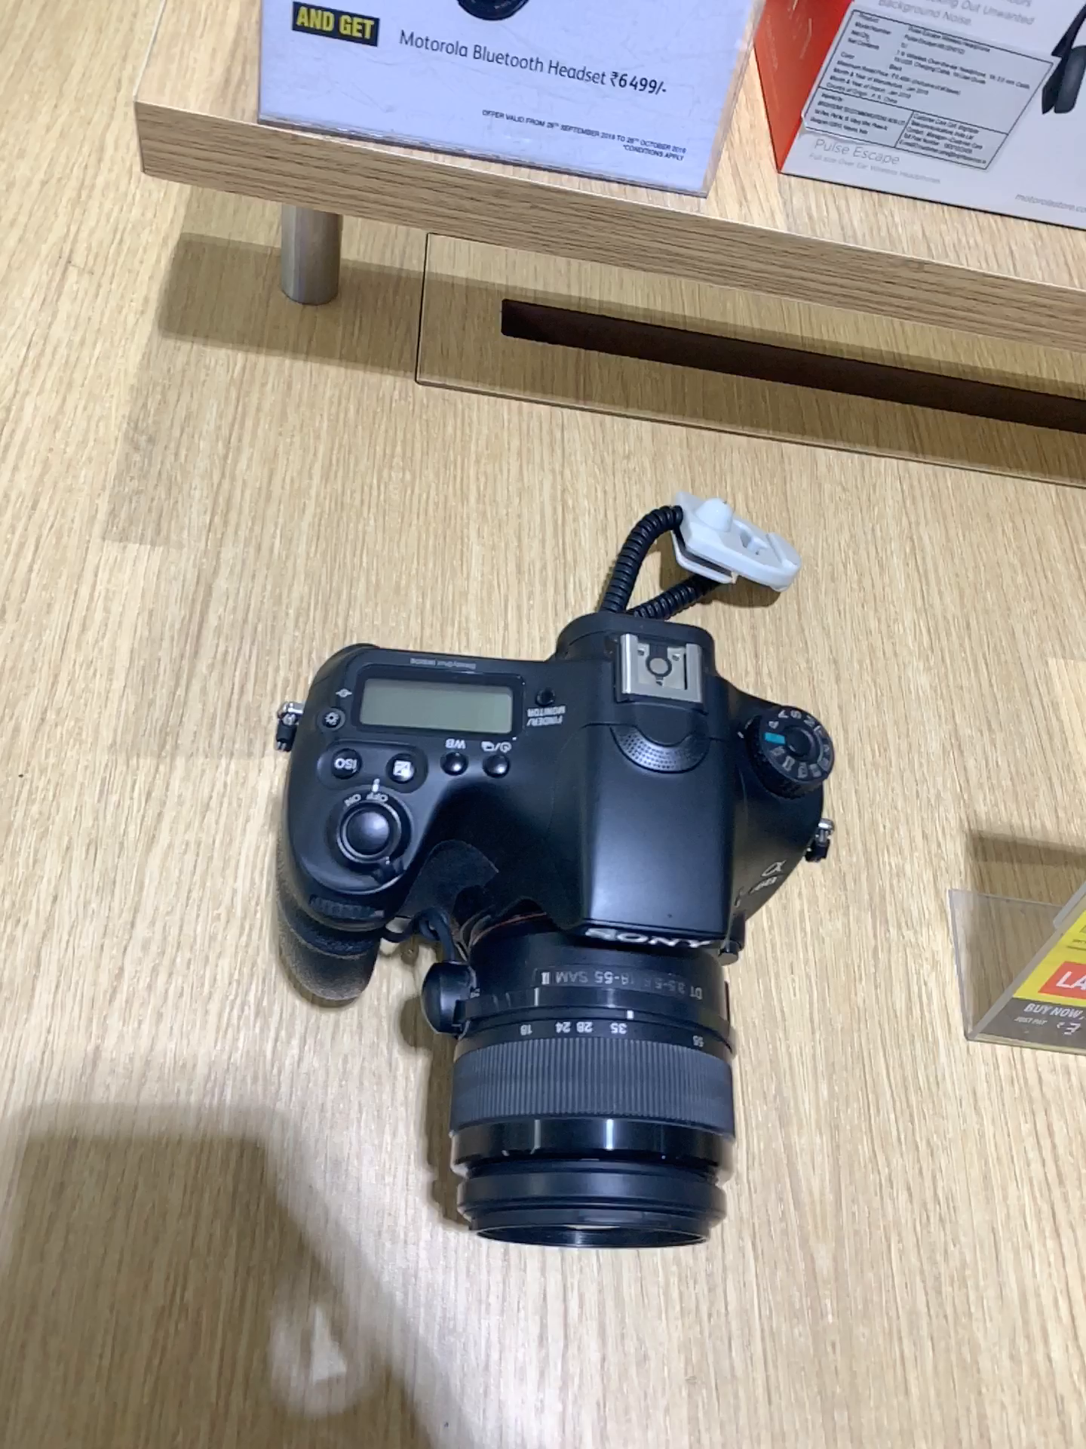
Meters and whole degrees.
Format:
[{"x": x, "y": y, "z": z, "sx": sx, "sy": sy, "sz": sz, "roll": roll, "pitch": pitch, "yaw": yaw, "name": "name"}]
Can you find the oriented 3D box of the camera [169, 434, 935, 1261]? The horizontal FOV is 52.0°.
[{"x": 0.000, "y": 0.033, "z": 0.280, "sx": 0.140, "sy": 0.090, "sz": 0.170, "roll": 8, "pitch": 60, "yaw": -9, "name": "camera"}]
